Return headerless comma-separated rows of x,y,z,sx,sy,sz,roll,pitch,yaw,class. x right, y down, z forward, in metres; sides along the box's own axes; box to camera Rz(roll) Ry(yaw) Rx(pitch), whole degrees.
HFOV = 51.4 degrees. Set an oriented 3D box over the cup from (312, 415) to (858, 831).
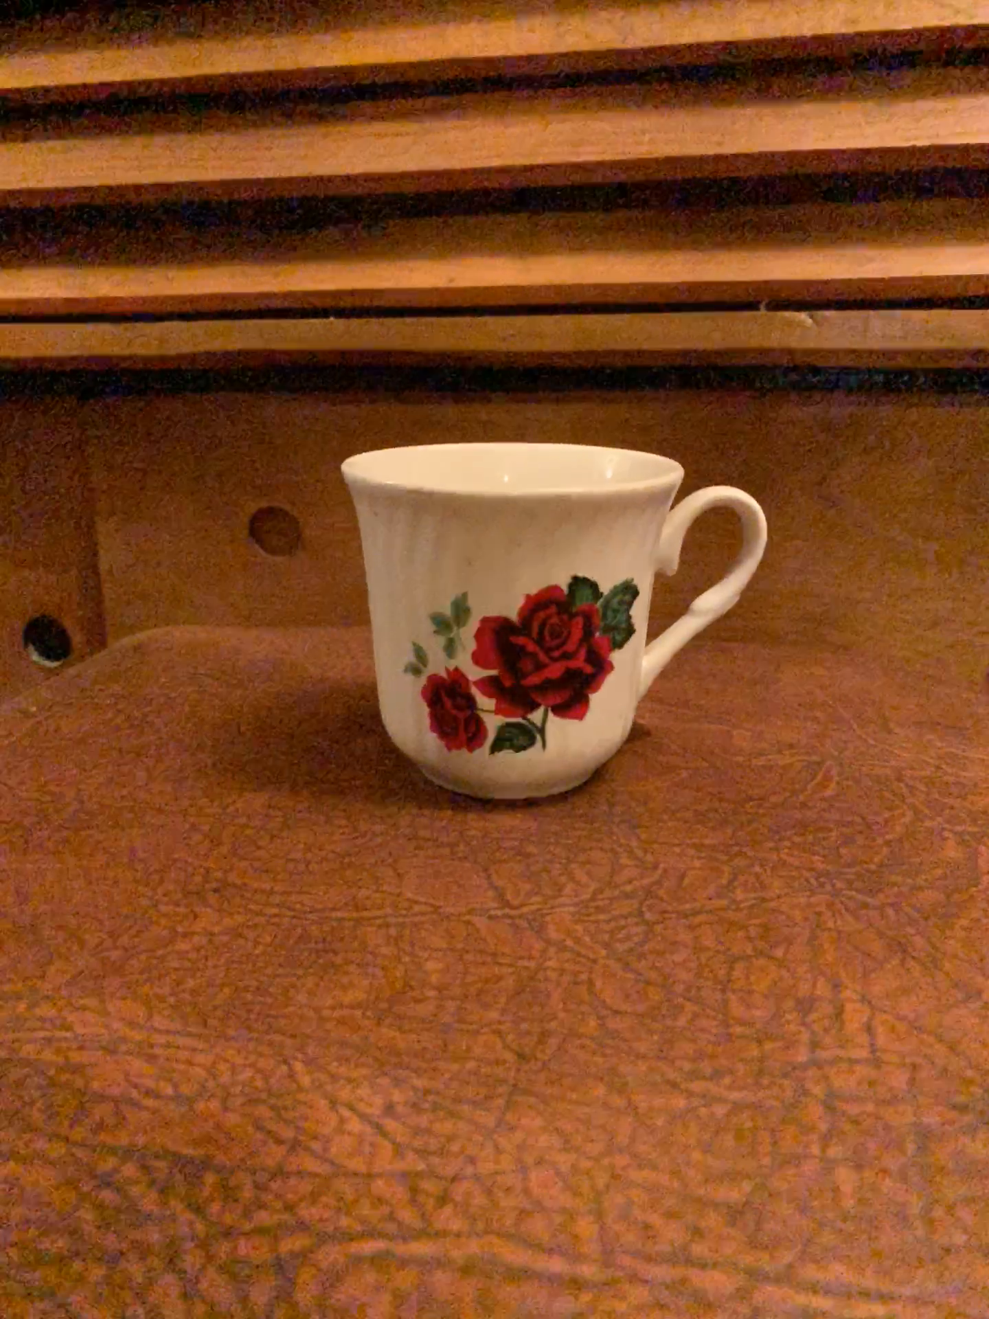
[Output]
0.016,-0.018,0.264,0.111,0.082,0.085,-4,16,-16,cup
